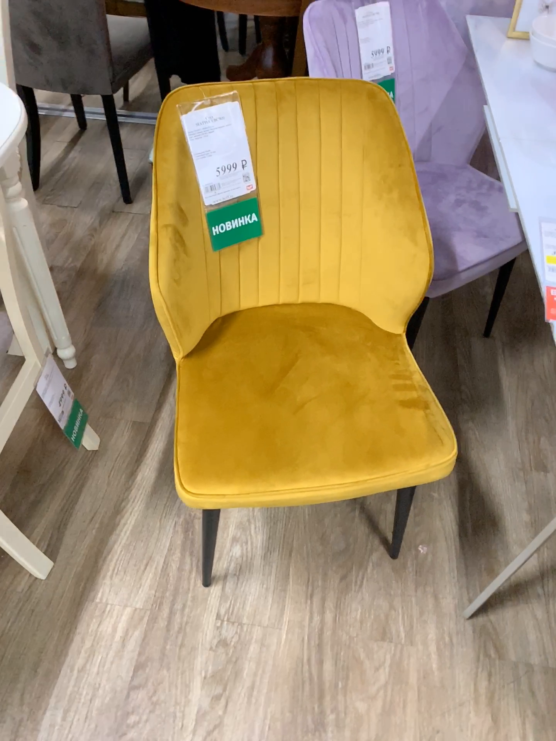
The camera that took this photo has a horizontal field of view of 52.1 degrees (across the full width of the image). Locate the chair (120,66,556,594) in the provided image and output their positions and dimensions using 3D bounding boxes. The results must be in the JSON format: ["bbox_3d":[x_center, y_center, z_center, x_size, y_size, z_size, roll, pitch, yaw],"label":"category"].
[{"bbox_3d":[0.026,-0.018,1.105,0.500,0.886,0.502,-5,49,-8],"label":"chair"}]
